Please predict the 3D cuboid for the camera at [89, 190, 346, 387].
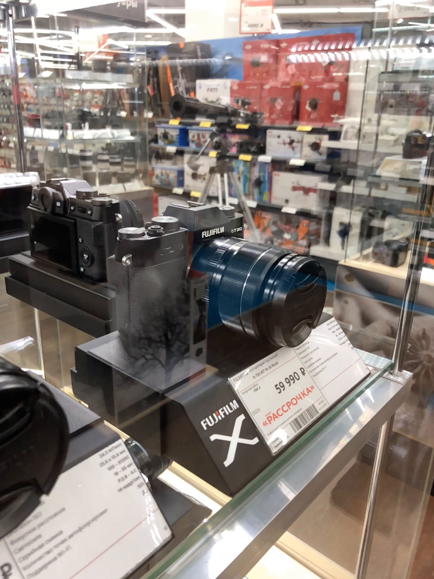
[{"bbox_3d":[0.001,-0.014,0.331,0.121,0.082,0.121,17,25,36],"label":"camera"}]
